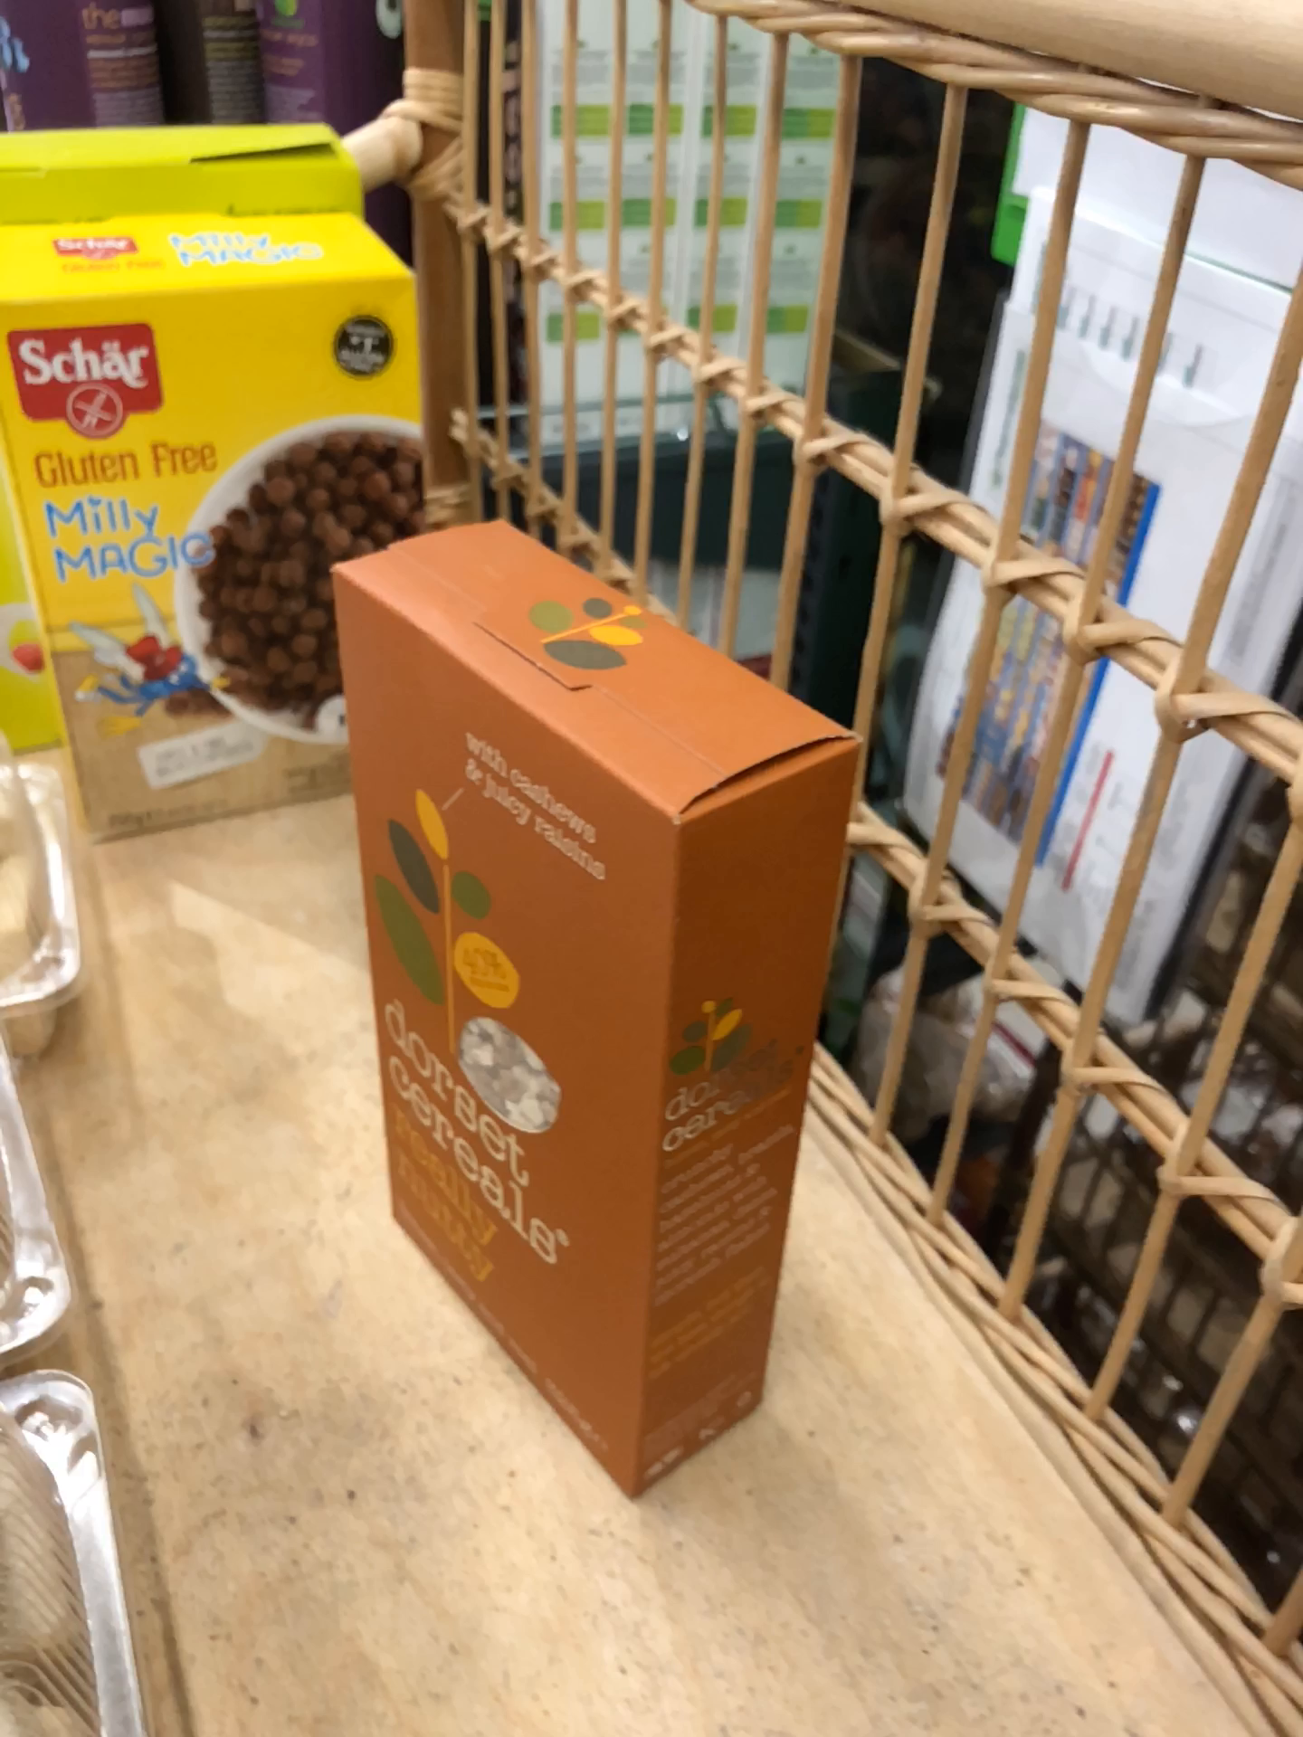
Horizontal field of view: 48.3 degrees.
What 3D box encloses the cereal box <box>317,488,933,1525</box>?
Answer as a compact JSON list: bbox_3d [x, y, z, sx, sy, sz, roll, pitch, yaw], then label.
[{"bbox_3d":[-0.016,0.036,0.346,0.050,0.209,0.130,-24,45,-32],"label":"cereal box"}]
